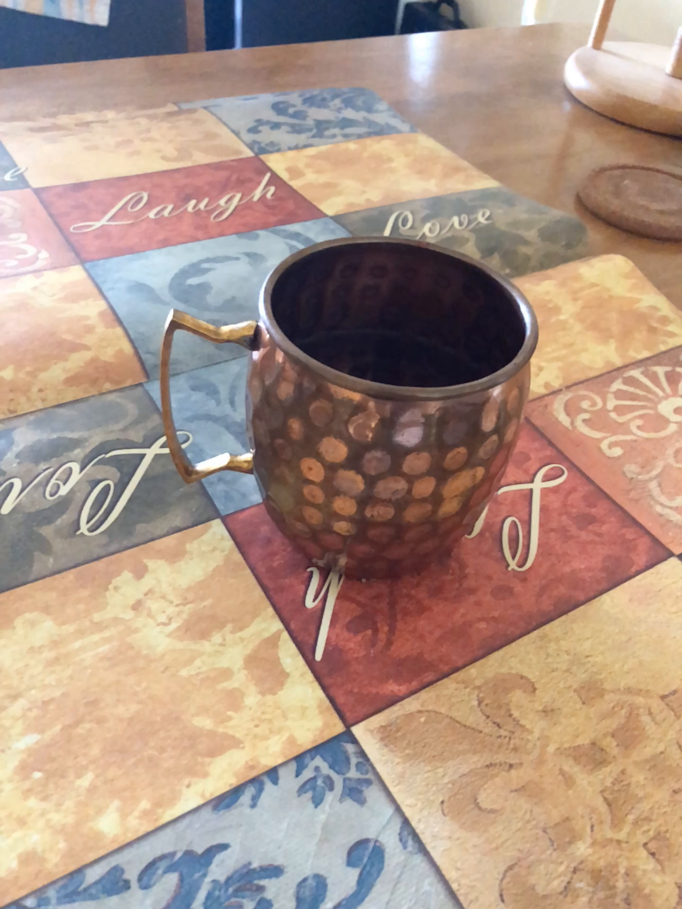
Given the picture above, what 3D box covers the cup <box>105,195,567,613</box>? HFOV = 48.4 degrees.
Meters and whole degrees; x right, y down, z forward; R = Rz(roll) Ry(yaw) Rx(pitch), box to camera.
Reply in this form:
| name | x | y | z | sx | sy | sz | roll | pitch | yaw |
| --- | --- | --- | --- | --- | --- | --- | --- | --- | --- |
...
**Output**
| name | x | y | z | sx | sy | sz | roll | pitch | yaw |
| --- | --- | --- | --- | --- | --- | --- | --- | --- | --- |
| cup | -0.002 | -0.018 | 0.263 | 0.120 | 0.090 | 0.100 | 6 | 44 | -1 |
